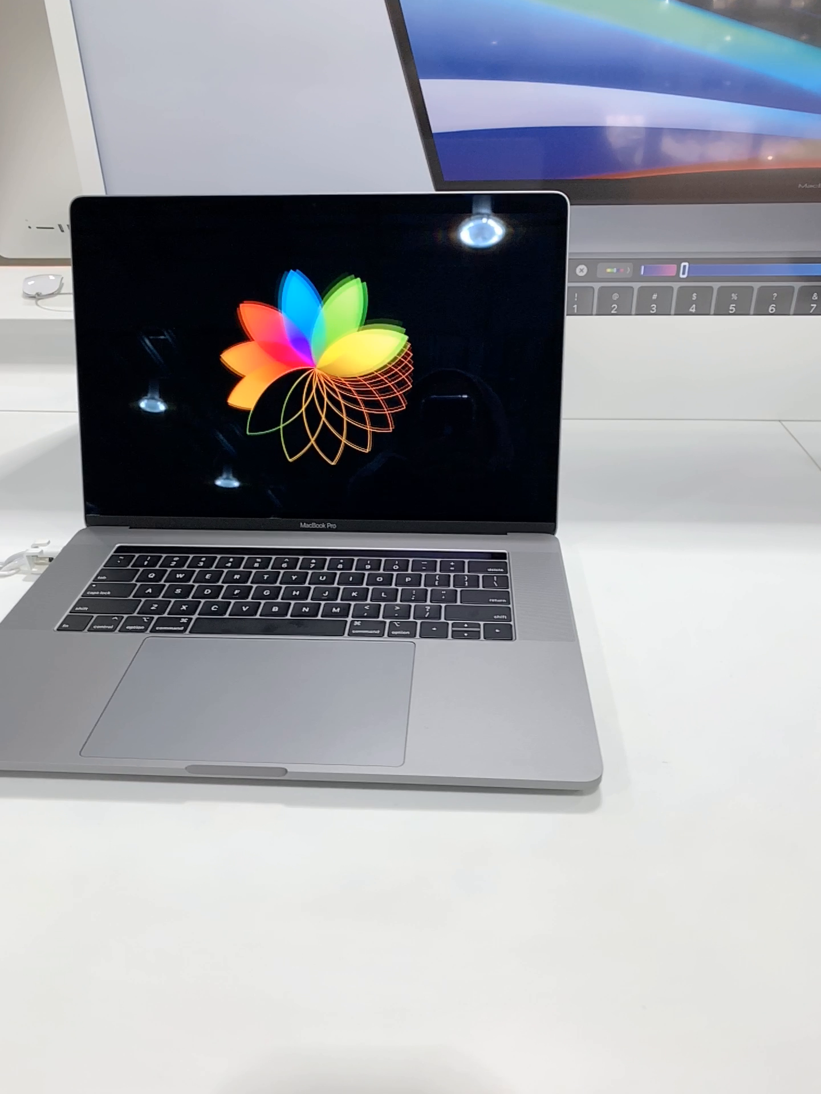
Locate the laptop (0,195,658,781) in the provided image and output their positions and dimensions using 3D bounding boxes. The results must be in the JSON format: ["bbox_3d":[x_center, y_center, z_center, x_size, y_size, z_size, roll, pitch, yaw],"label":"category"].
[{"bbox_3d":[-0.073,-0.064,0.467,0.330,0.205,0.304,1,29,3],"label":"laptop"}]
